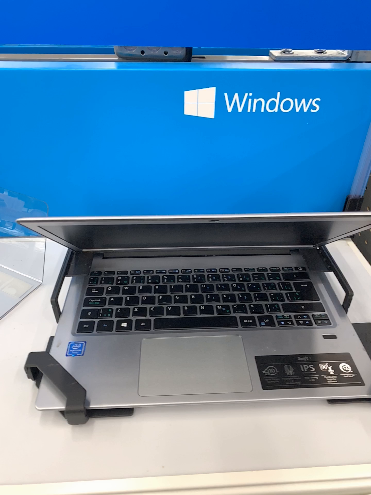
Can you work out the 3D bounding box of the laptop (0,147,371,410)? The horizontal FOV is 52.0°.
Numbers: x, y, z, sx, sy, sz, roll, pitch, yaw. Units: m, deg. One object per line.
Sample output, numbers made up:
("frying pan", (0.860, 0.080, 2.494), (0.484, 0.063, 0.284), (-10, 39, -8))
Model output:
("laptop", (0.020, 0.012, 0.369), (0.305, 0.141, 0.214), (-1, 36, -3))
